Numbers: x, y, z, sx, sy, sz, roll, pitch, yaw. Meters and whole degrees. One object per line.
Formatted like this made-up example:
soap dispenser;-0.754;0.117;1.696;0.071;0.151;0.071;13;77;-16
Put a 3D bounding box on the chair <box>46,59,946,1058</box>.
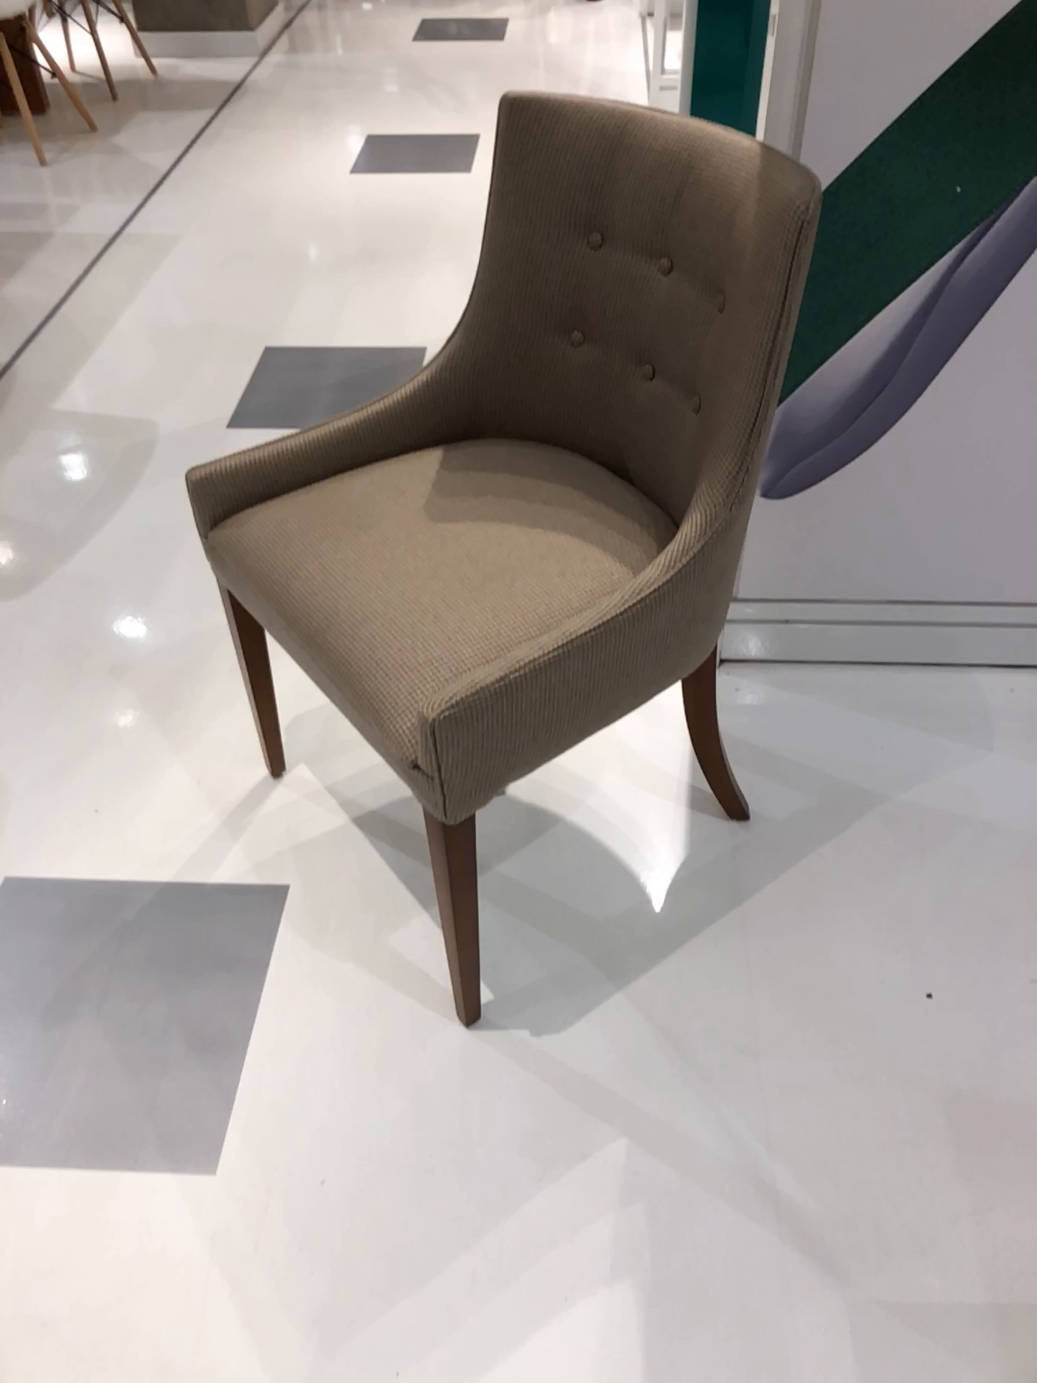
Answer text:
chair;-0.039;-0.169;1.294;0.591;0.794;0.593;-24;46;-23
